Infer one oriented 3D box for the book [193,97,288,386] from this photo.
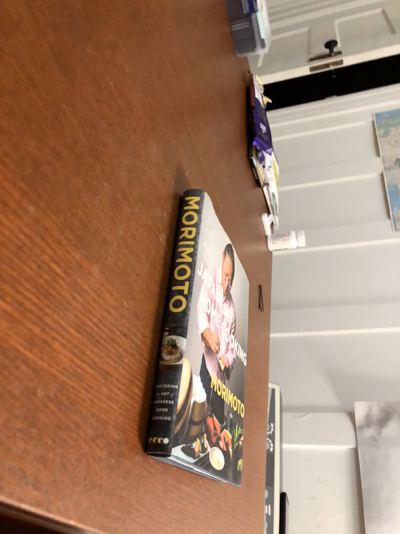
[{"bbox_3d":[0.068,-0.048,0.539,0.301,0.030,0.220,-71,150,-50],"label":"book"}]
